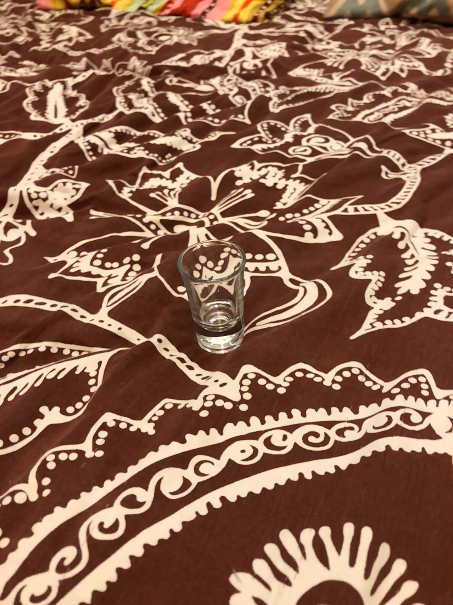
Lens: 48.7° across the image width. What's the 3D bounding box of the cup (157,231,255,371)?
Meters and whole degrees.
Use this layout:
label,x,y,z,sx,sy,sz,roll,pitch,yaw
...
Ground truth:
label,x,y,z,sx,sy,sz,roll,pitch,yaw
cup,-0.012,-0.001,0.329,0.045,0.069,0.042,-1,43,1
